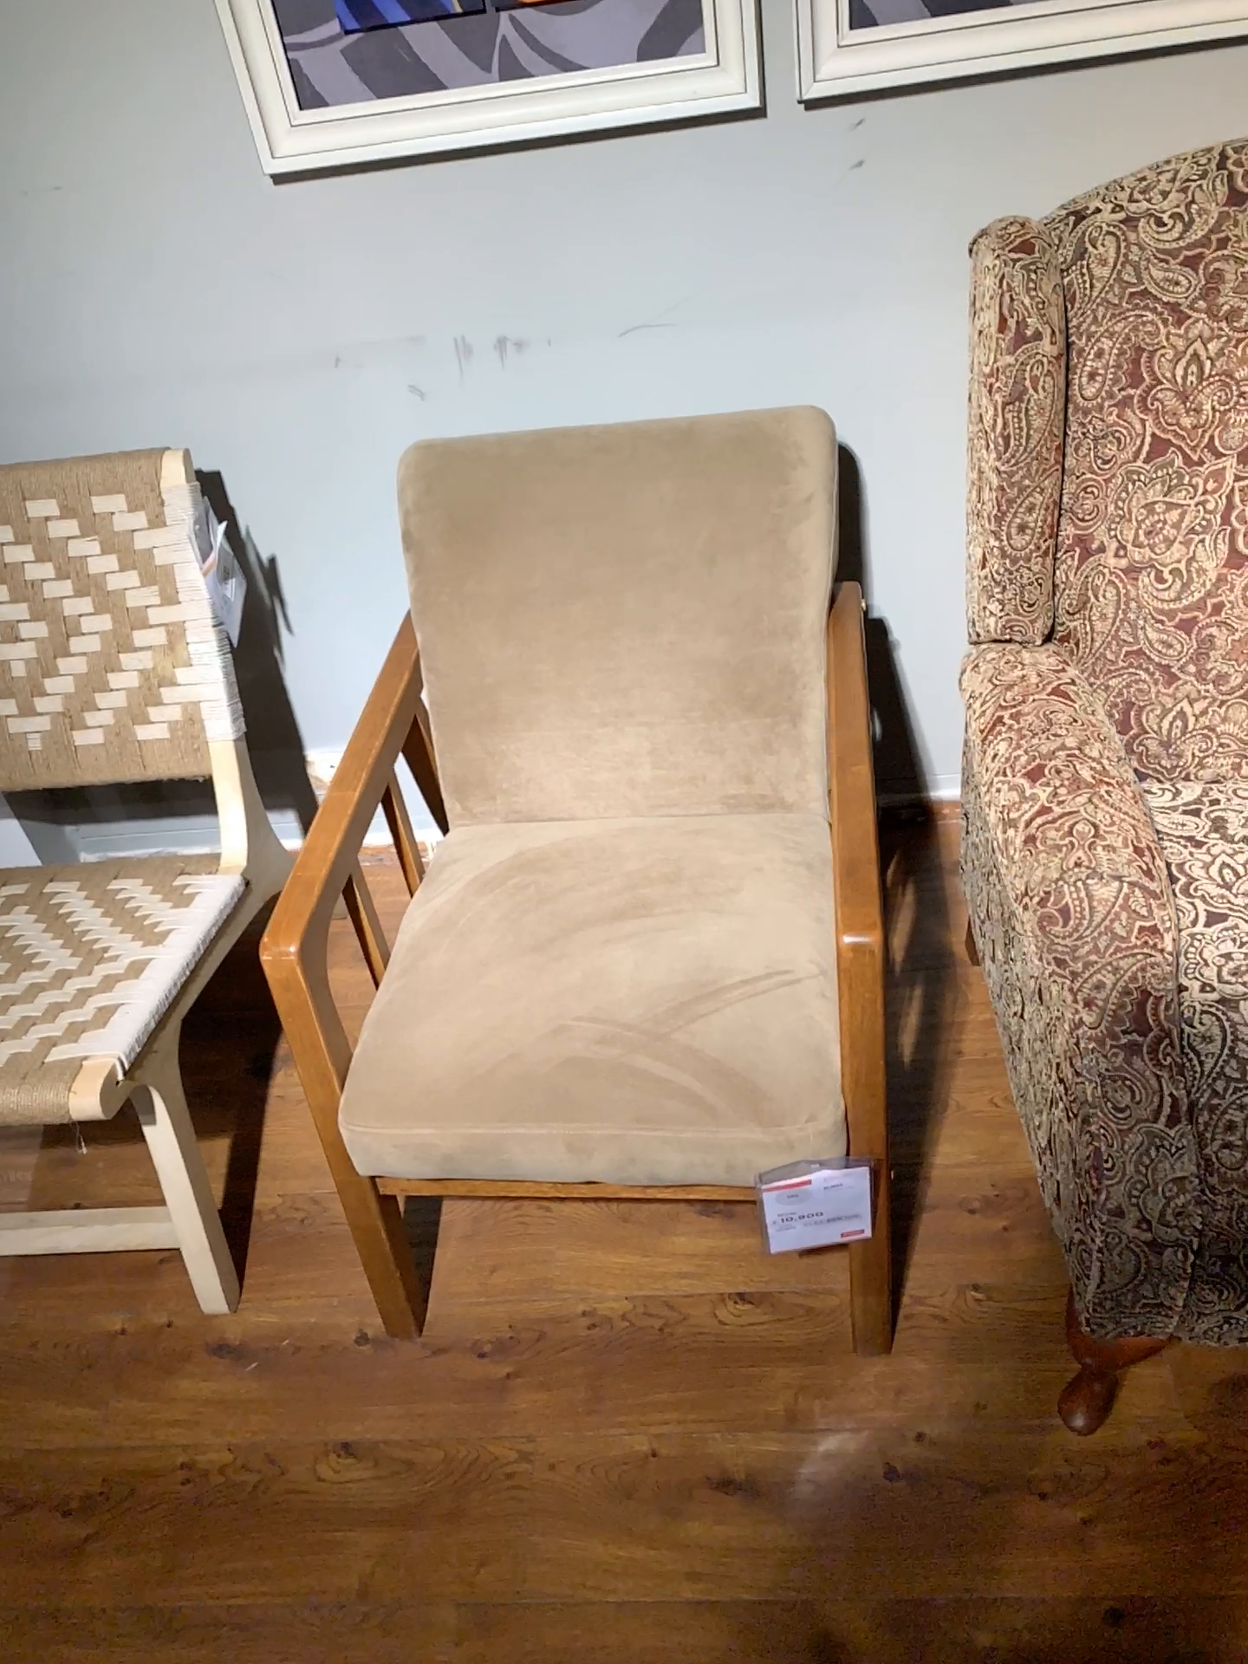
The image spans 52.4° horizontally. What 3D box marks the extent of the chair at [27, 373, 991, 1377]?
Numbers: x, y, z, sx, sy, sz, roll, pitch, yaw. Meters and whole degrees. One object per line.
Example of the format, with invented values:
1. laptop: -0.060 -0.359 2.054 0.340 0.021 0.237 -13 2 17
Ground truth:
1. chair: -0.019 0.024 1.488 0.720 0.737 0.874 -2 40 9
